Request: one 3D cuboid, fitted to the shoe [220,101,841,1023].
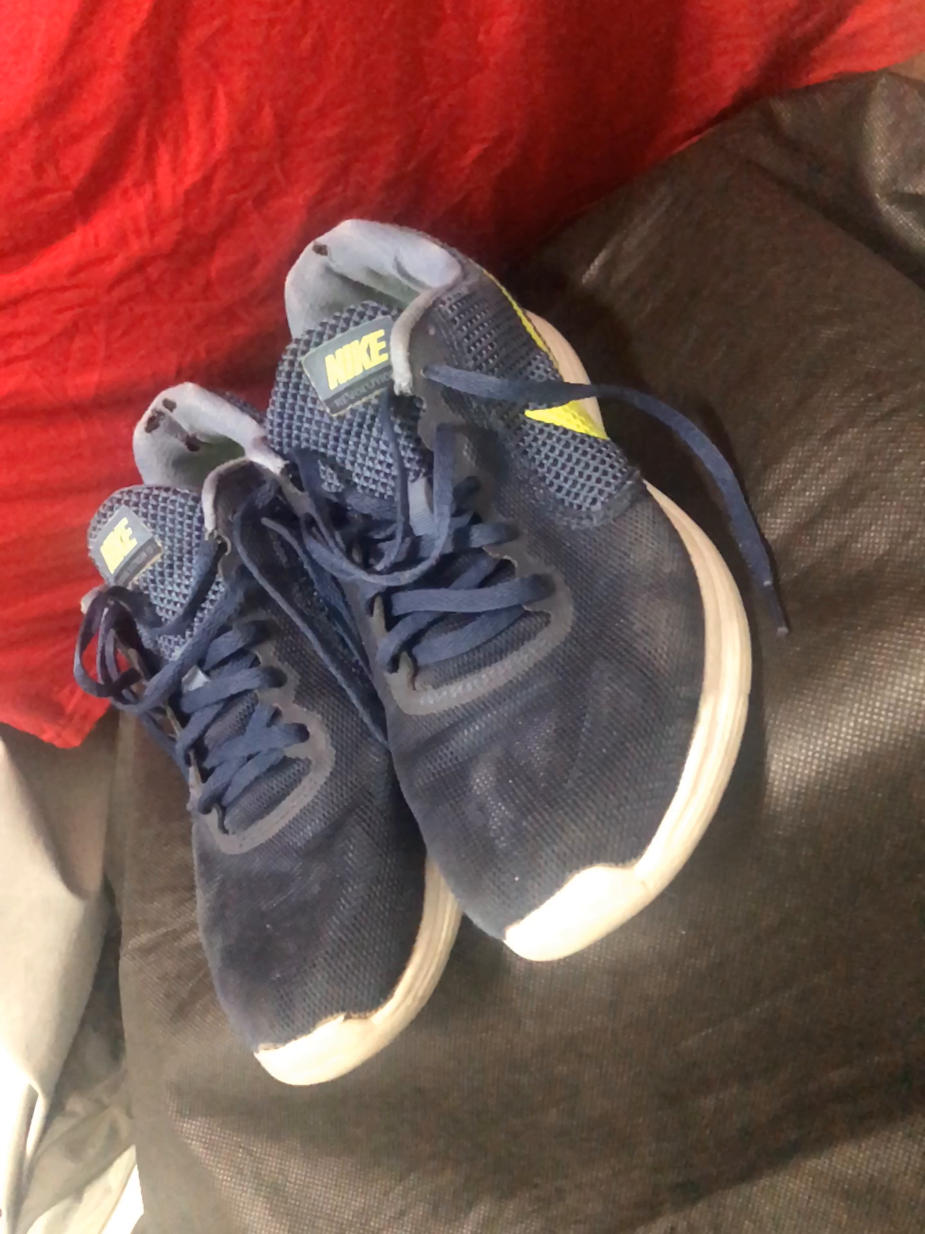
[{"bbox_3d":[-0.002,-0.033,0.315,0.110,0.089,0.262,-34,44,25],"label":"shoe"}]

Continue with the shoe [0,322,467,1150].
[{"bbox_3d":[-0.089,0.031,0.340,0.110,0.099,0.232,-34,44,25],"label":"shoe"}]
